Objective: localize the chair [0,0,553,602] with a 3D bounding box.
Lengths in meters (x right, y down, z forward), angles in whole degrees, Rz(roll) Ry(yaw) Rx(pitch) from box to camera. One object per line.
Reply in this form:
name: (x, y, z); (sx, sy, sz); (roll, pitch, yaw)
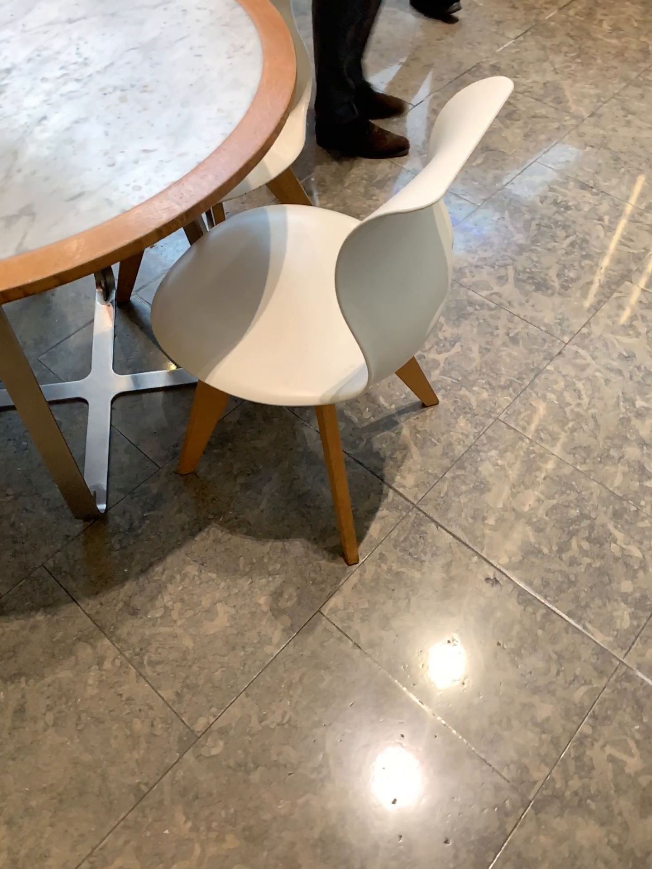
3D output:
chair: (-0.040, -0.189, 1.226); (0.541, 0.913, 0.503); (23, 59, 16)
